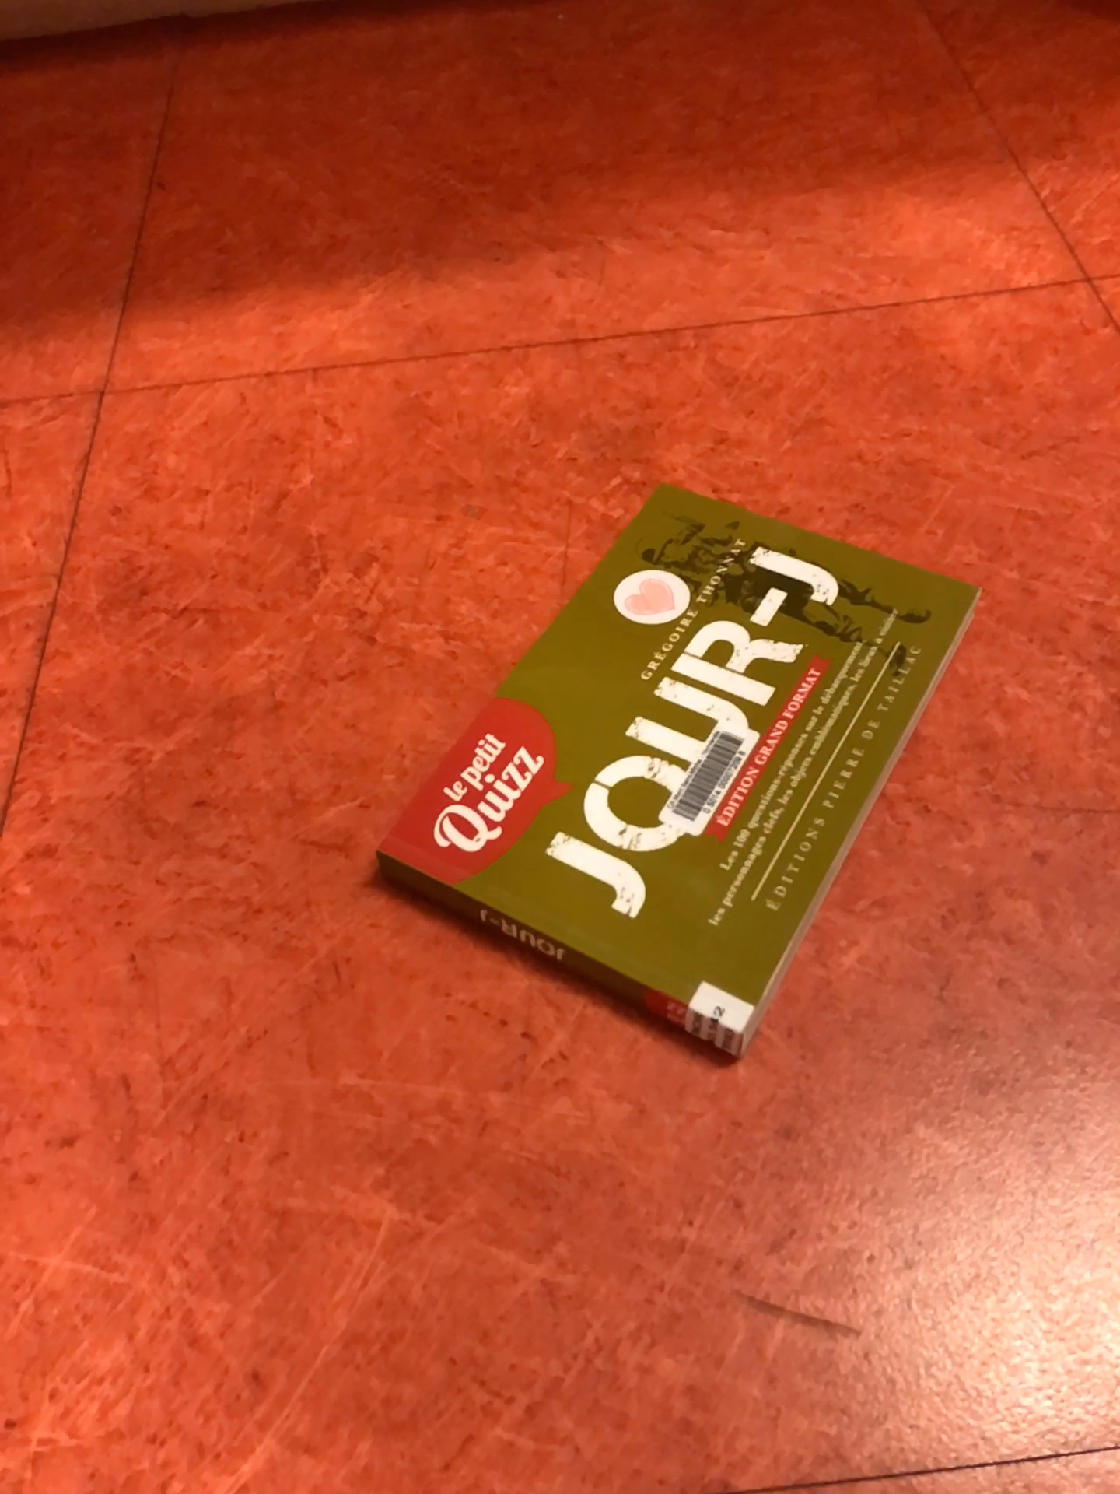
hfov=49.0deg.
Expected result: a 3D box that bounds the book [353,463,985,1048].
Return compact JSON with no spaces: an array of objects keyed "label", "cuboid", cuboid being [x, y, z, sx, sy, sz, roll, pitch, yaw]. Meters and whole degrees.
[{"label":"book","cuboid":[0.047,-0.015,0.441,0.136,0.016,0.219,23,56,22]}]
